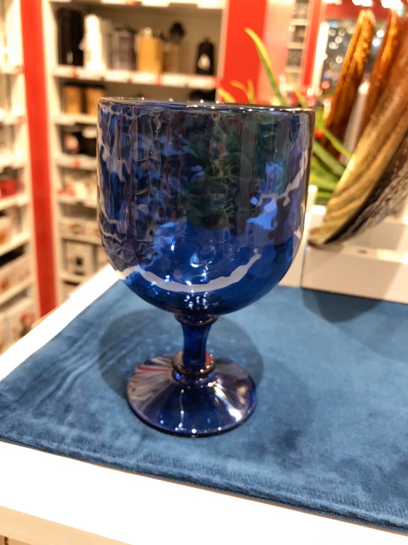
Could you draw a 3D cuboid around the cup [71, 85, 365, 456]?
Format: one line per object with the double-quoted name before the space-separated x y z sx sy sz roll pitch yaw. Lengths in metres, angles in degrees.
"cup" 0.000 -0.005 0.205 0.090 0.139 0.080 2 22 -2
